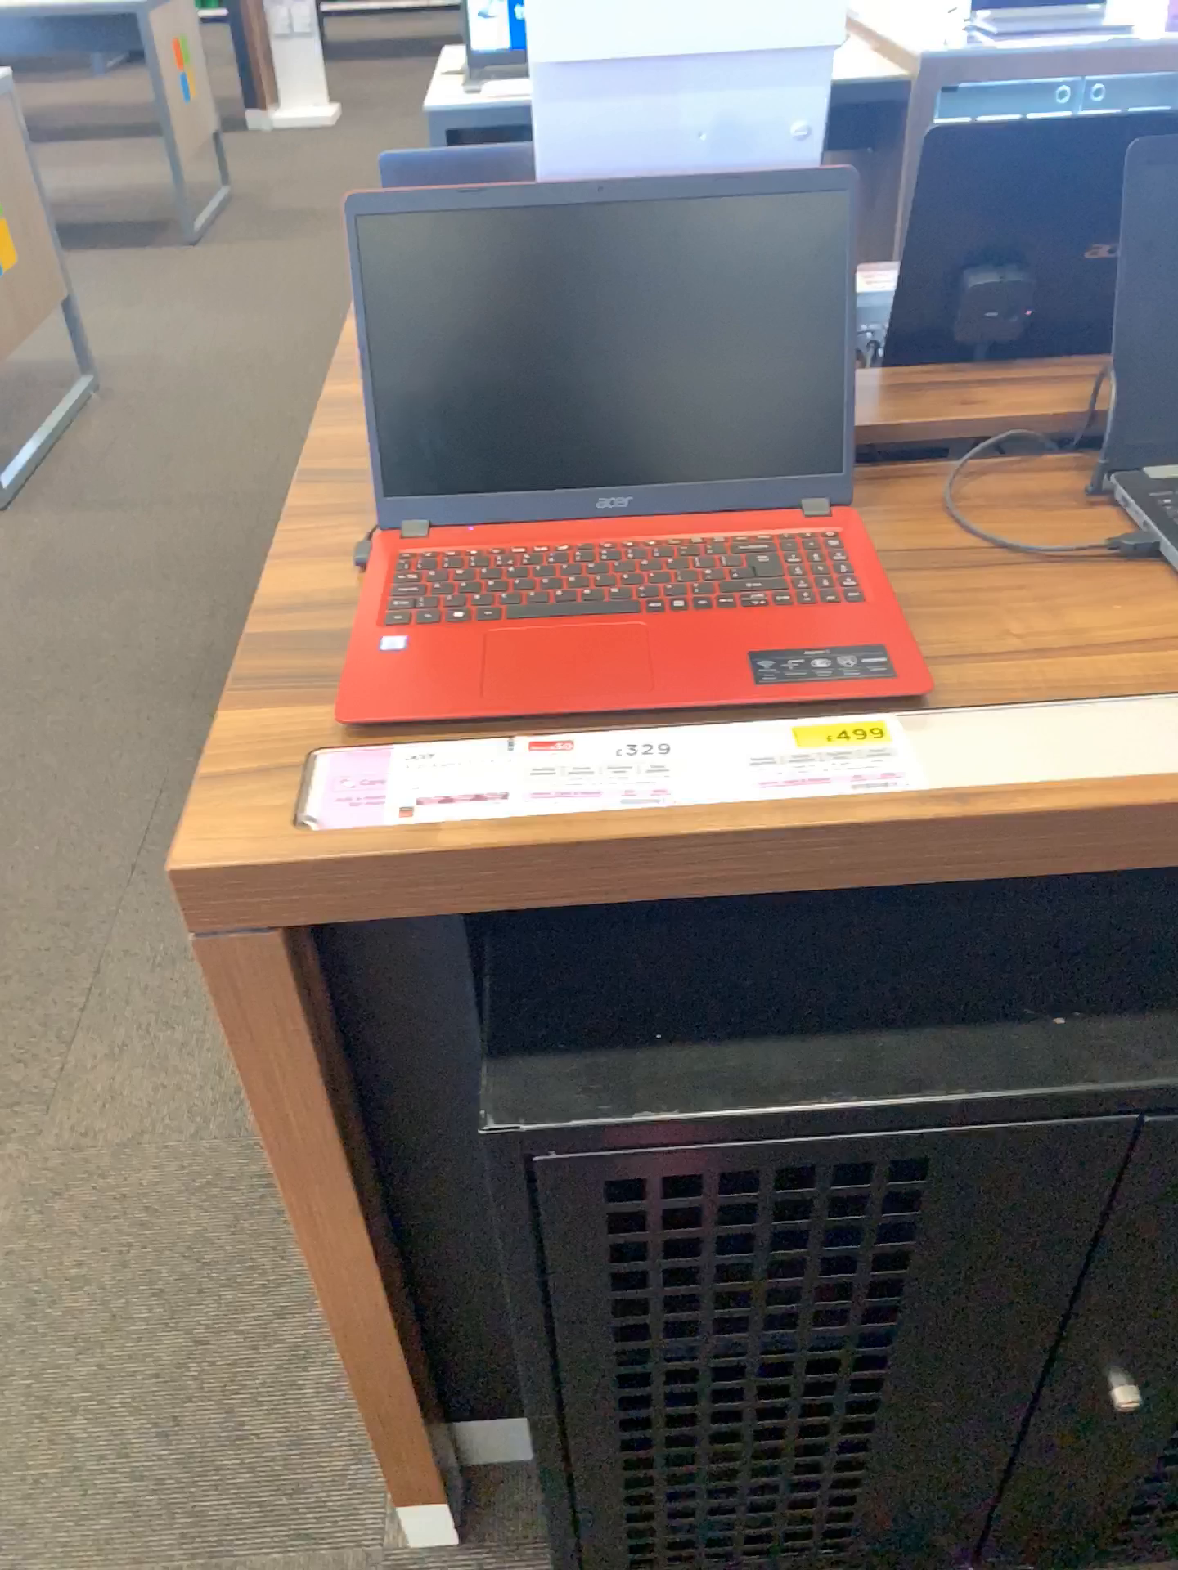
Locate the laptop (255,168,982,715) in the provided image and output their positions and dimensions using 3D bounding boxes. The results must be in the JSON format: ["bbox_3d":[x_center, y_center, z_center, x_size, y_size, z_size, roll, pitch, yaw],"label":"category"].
[{"bbox_3d":[0.013,-0.237,0.783,0.356,0.213,0.324,-3,39,0],"label":"laptop"}]
